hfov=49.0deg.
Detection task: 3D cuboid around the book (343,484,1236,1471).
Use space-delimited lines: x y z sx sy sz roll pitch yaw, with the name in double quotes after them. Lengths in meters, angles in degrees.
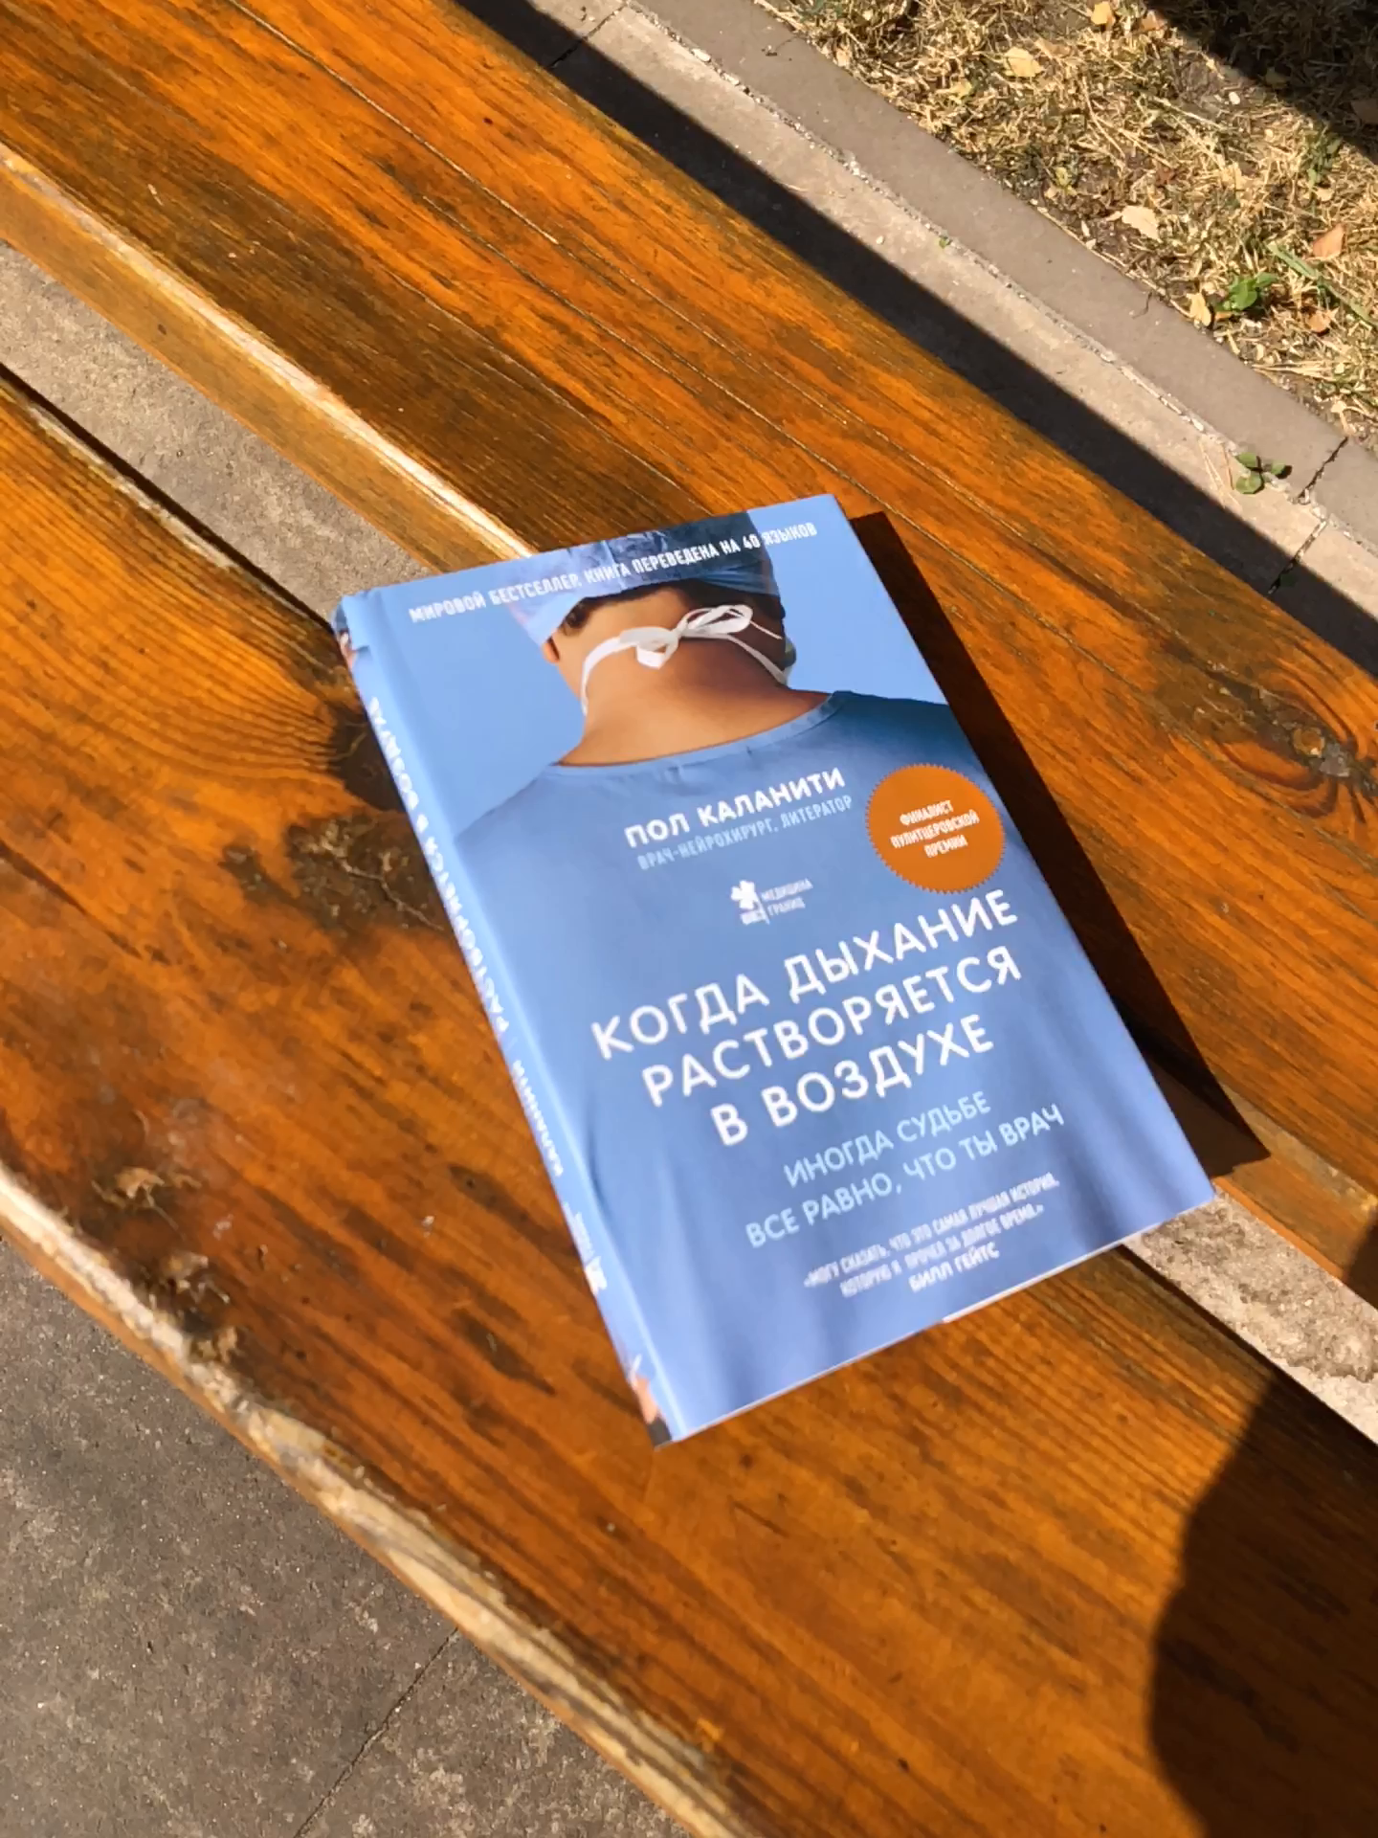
0.018 -0.001 0.361 0.140 0.025 0.210 -17 71 -19 "book"
